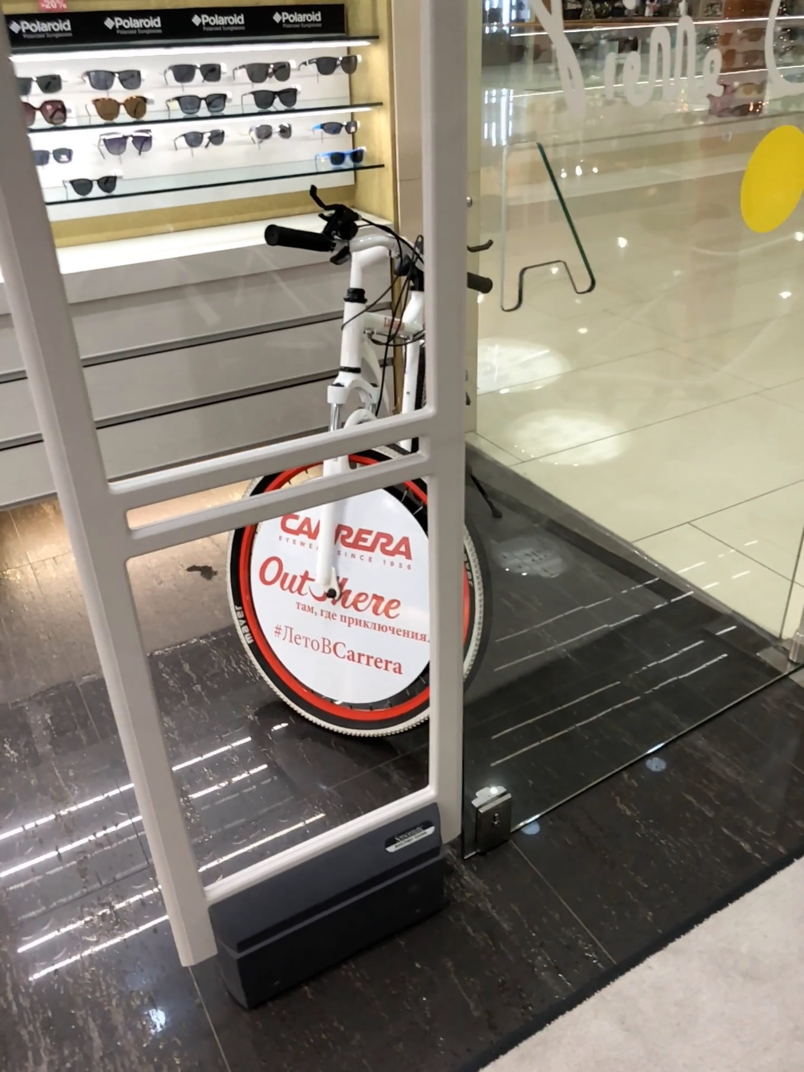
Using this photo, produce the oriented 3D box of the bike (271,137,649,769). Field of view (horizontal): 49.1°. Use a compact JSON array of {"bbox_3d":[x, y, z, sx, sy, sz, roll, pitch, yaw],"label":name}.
[{"bbox_3d":[0.108,-0.327,2.188,0.591,0.947,1.389,-2,33,2],"label":"bike"}]
